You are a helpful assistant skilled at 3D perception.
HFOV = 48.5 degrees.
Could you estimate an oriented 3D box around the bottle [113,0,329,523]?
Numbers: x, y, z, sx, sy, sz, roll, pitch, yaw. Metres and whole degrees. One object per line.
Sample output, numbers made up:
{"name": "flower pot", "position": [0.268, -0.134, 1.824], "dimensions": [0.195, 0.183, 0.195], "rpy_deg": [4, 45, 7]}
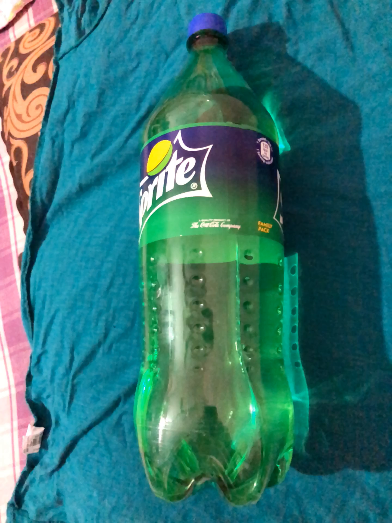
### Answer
{"name": "bottle", "position": [0.009, -0.028, 0.291], "dimensions": [0.110, 0.070, 0.330], "rpy_deg": [-9, 78, 36]}
